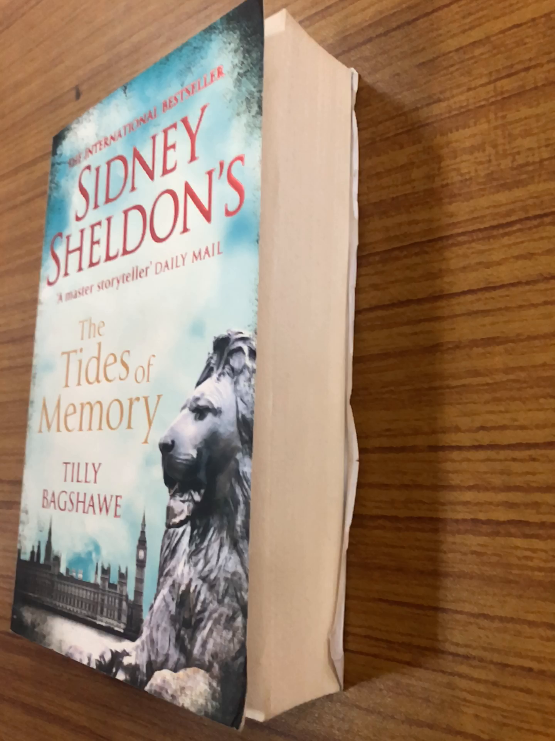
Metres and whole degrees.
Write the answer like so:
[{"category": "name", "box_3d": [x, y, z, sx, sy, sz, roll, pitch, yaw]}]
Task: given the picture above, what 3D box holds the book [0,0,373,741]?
[{"category": "book", "box_3d": [-0.034, -0.001, 0.186, 0.122, 0.037, 0.168, -6, 79, 43]}]
